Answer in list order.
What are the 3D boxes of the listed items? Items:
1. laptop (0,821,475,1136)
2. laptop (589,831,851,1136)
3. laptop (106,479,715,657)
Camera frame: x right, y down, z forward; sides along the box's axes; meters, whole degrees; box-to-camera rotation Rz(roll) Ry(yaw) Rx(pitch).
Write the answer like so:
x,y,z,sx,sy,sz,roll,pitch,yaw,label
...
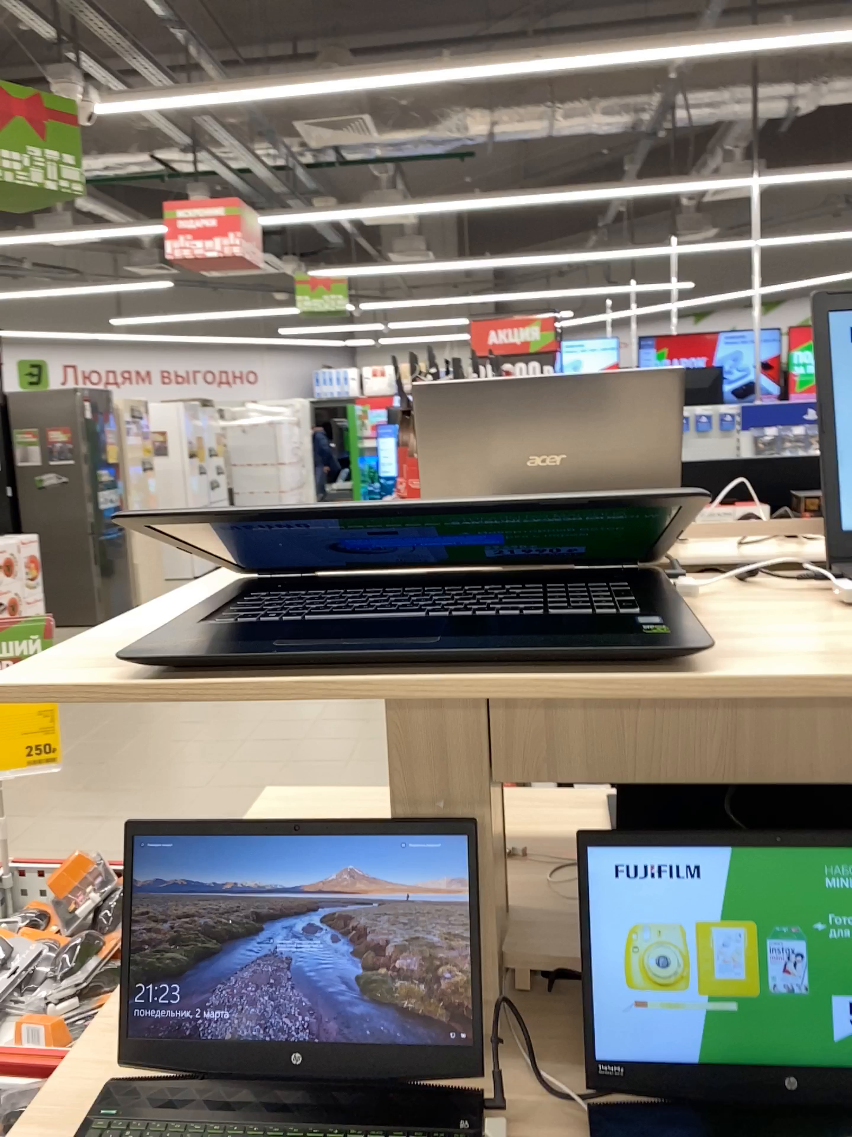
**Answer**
x,y,z,sx,sy,sz,roll,pitch,yaw,label
-0.137,0.385,0.721,0.344,0.220,0.315,-1,8,5,laptop
0.310,0.373,0.652,0.353,0.226,0.299,-2,8,7,laptop
-0.002,-0.011,0.708,0.404,0.084,0.271,-2,10,7,laptop
